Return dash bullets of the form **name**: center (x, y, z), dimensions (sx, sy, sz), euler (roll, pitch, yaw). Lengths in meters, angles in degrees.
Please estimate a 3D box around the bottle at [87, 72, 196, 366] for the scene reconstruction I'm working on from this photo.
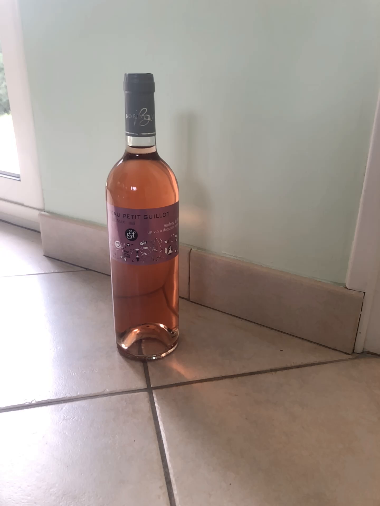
- **bottle**: center (-0.050, -0.033, 0.441), dimensions (0.090, 0.288, 0.090), euler (1, 23, 0)
